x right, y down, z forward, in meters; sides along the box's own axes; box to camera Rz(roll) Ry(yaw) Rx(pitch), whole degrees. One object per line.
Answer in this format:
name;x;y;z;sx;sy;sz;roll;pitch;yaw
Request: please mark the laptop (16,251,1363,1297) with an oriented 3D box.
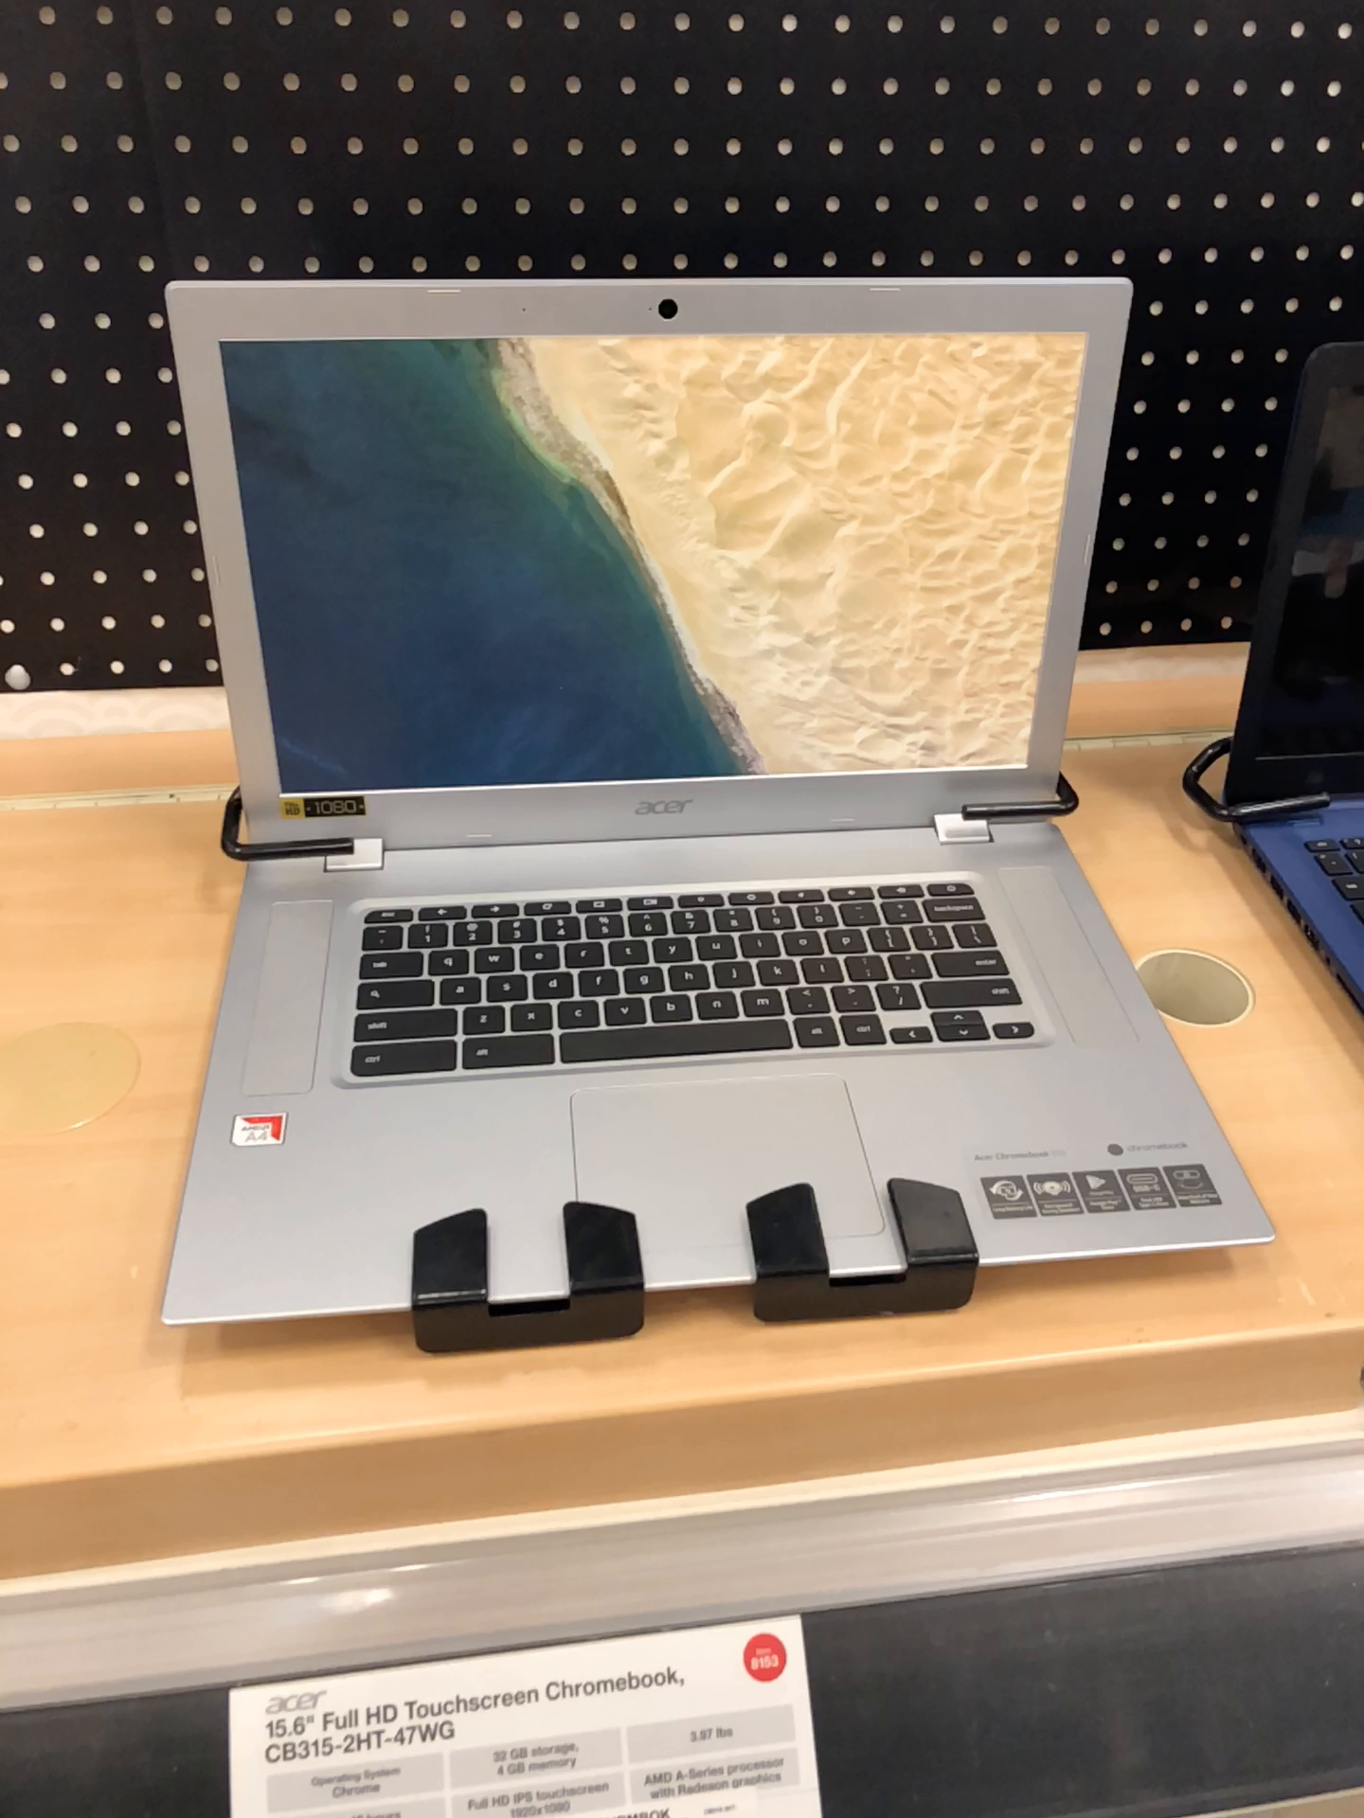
laptop;0.003;-0.076;0.563;0.371;0.246;0.287;-3;34;-6
